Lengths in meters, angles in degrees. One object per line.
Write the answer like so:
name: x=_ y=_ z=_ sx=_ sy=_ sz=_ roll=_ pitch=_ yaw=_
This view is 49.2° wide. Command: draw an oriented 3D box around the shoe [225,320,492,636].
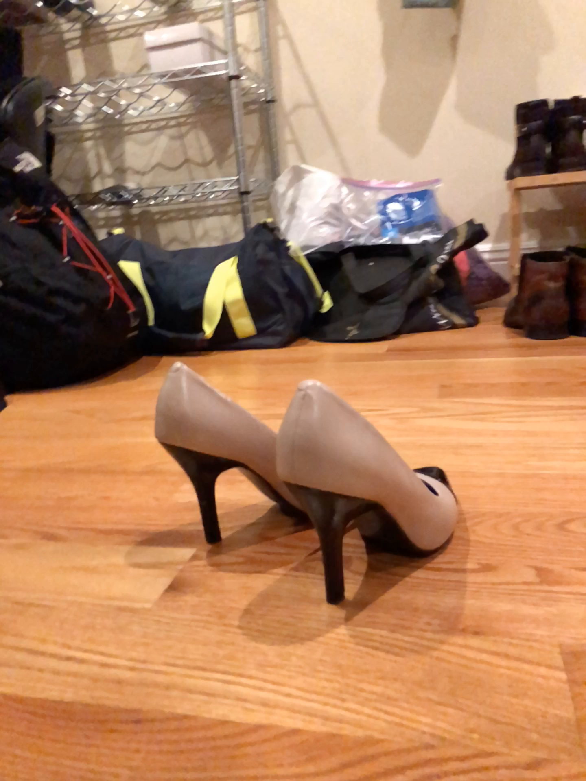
shoe: x=0.065 y=0.037 z=0.455 sx=0.085 sy=0.139 sz=0.236 roll=4 pitch=16 yaw=32

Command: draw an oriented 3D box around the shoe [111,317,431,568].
shoe: x=-0.010 y=0.028 z=0.519 sx=0.235 sy=0.139 sz=0.085 roll=-11 pitch=15 yaw=-27
